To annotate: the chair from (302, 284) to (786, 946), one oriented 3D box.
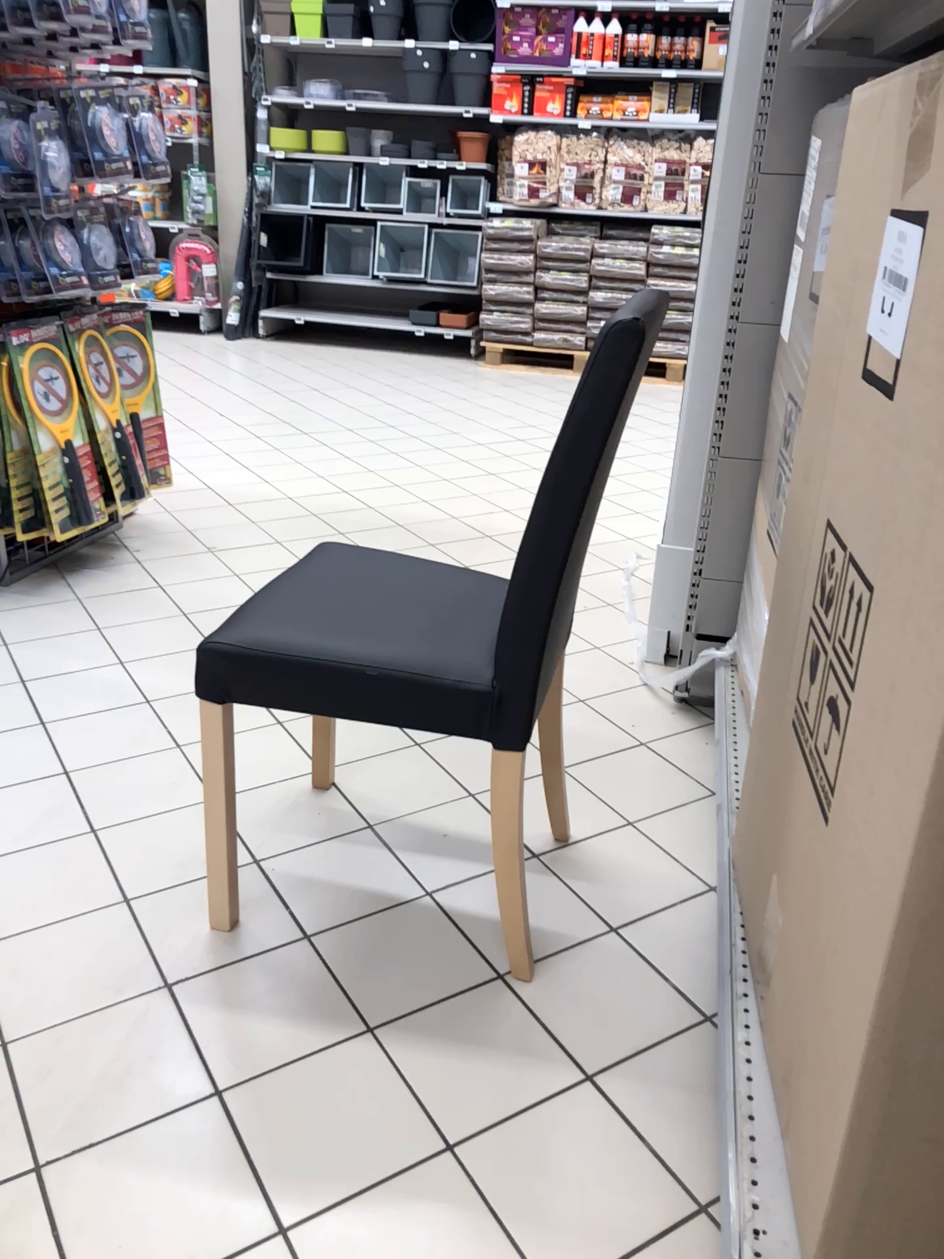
[{"bbox_3d":[0.114,-0.051,1.609,0.590,0.855,0.453,7,25,12],"label":"chair"}]
